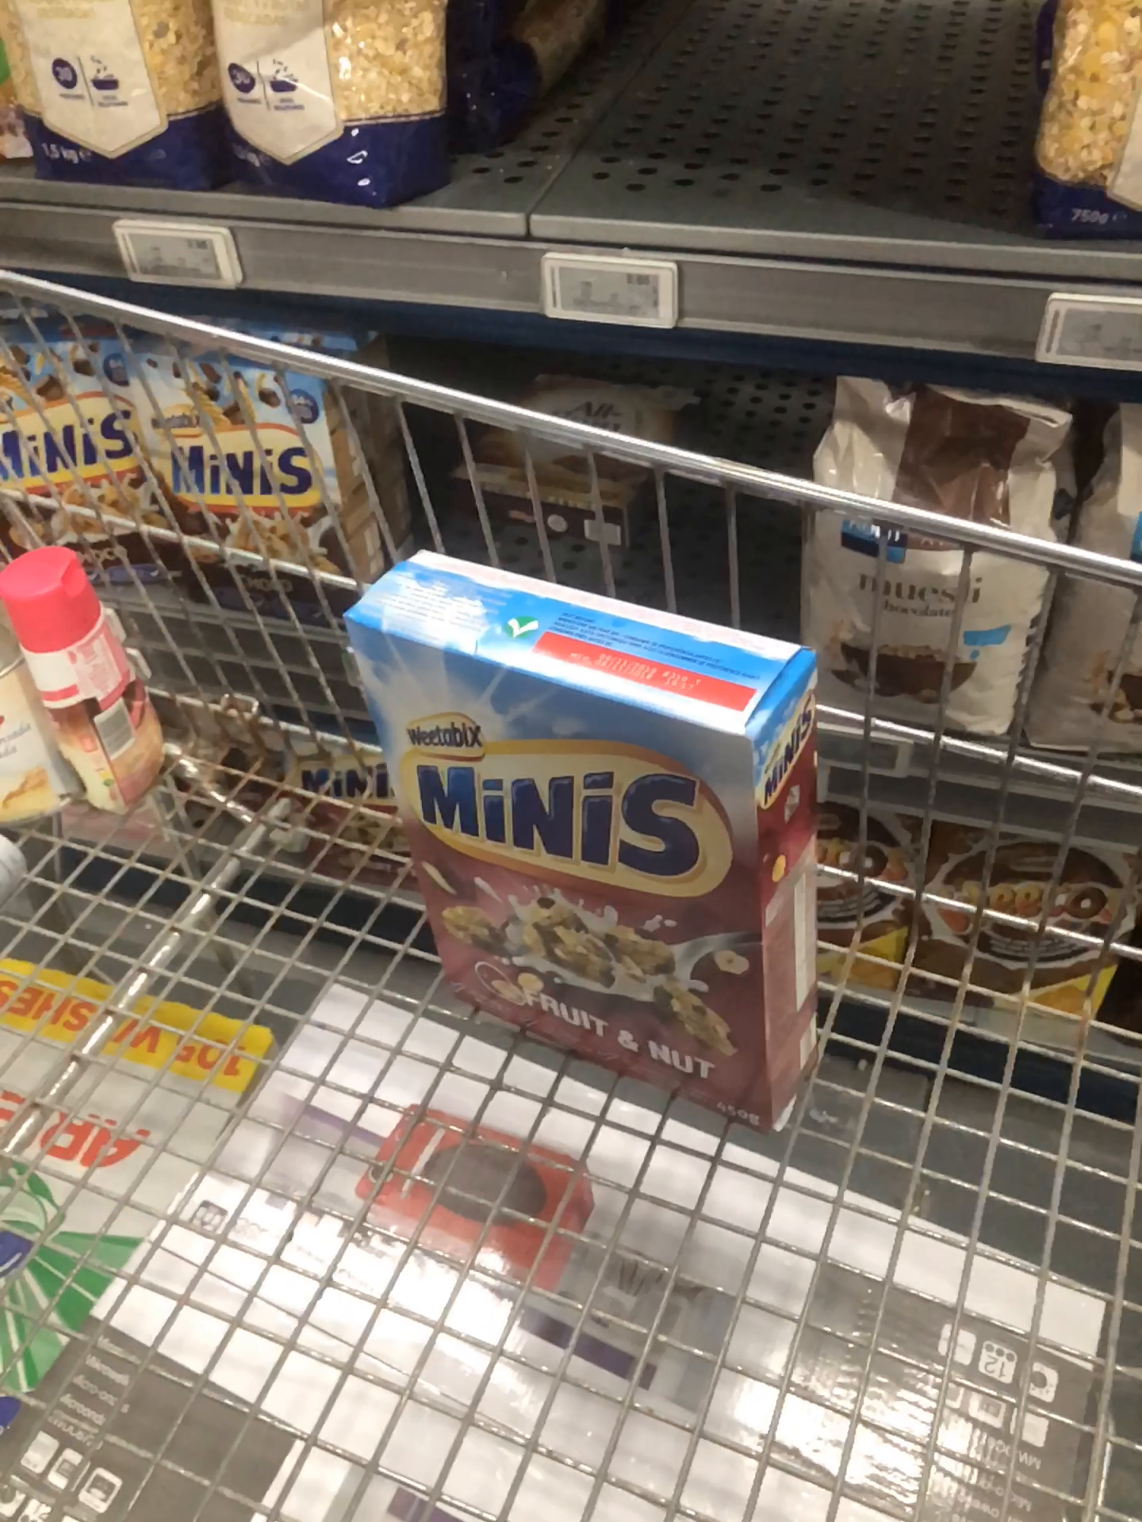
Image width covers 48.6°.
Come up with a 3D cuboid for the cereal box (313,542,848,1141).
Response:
[{"bbox_3d":[0.014,0.043,0.628,0.220,0.259,0.080,17,48,26],"label":"cereal box"}]
